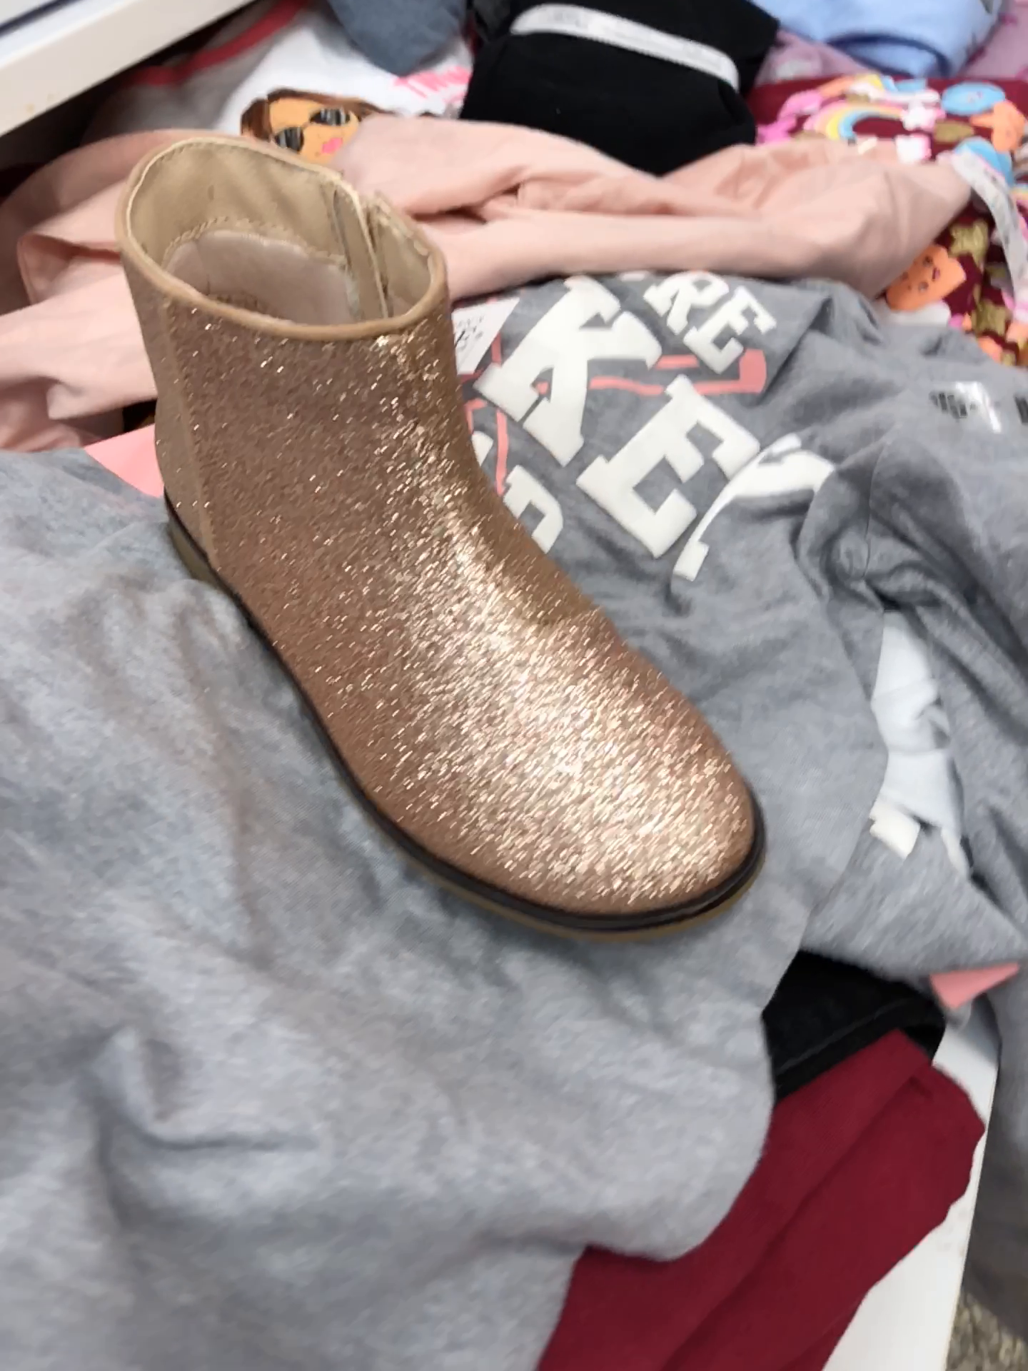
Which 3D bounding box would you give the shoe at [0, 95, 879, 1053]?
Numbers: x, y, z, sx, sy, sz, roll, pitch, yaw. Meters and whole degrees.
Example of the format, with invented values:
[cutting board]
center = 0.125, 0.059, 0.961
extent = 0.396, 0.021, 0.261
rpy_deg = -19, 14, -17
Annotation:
[shoe]
center = -0.039, -0.047, 0.285
extent = 0.083, 0.129, 0.238
rpy_deg = -34, 47, -23
